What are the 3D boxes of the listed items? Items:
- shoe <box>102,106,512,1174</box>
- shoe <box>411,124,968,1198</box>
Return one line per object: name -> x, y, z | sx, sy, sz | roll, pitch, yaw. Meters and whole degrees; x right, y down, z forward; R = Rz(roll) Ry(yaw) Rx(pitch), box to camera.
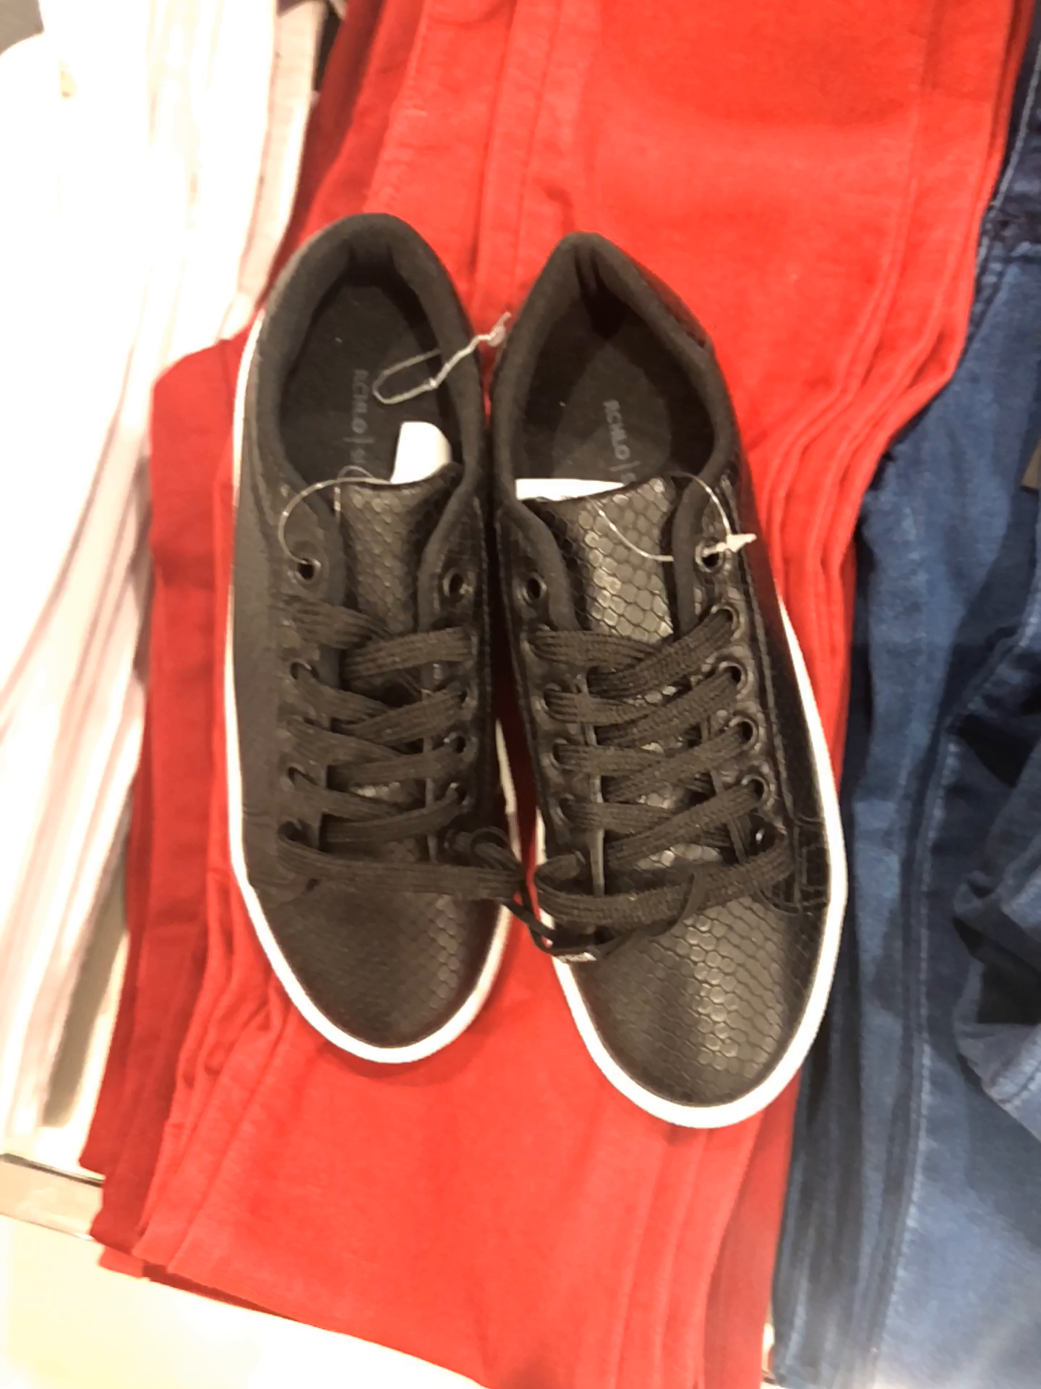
shoe -> -0.052, -0.014, 0.324 | 0.090, 0.100, 0.250 | -2, 88, -1
shoe -> 0.035, -0.010, 0.319 | 0.090, 0.100, 0.250 | -8, 75, 2
